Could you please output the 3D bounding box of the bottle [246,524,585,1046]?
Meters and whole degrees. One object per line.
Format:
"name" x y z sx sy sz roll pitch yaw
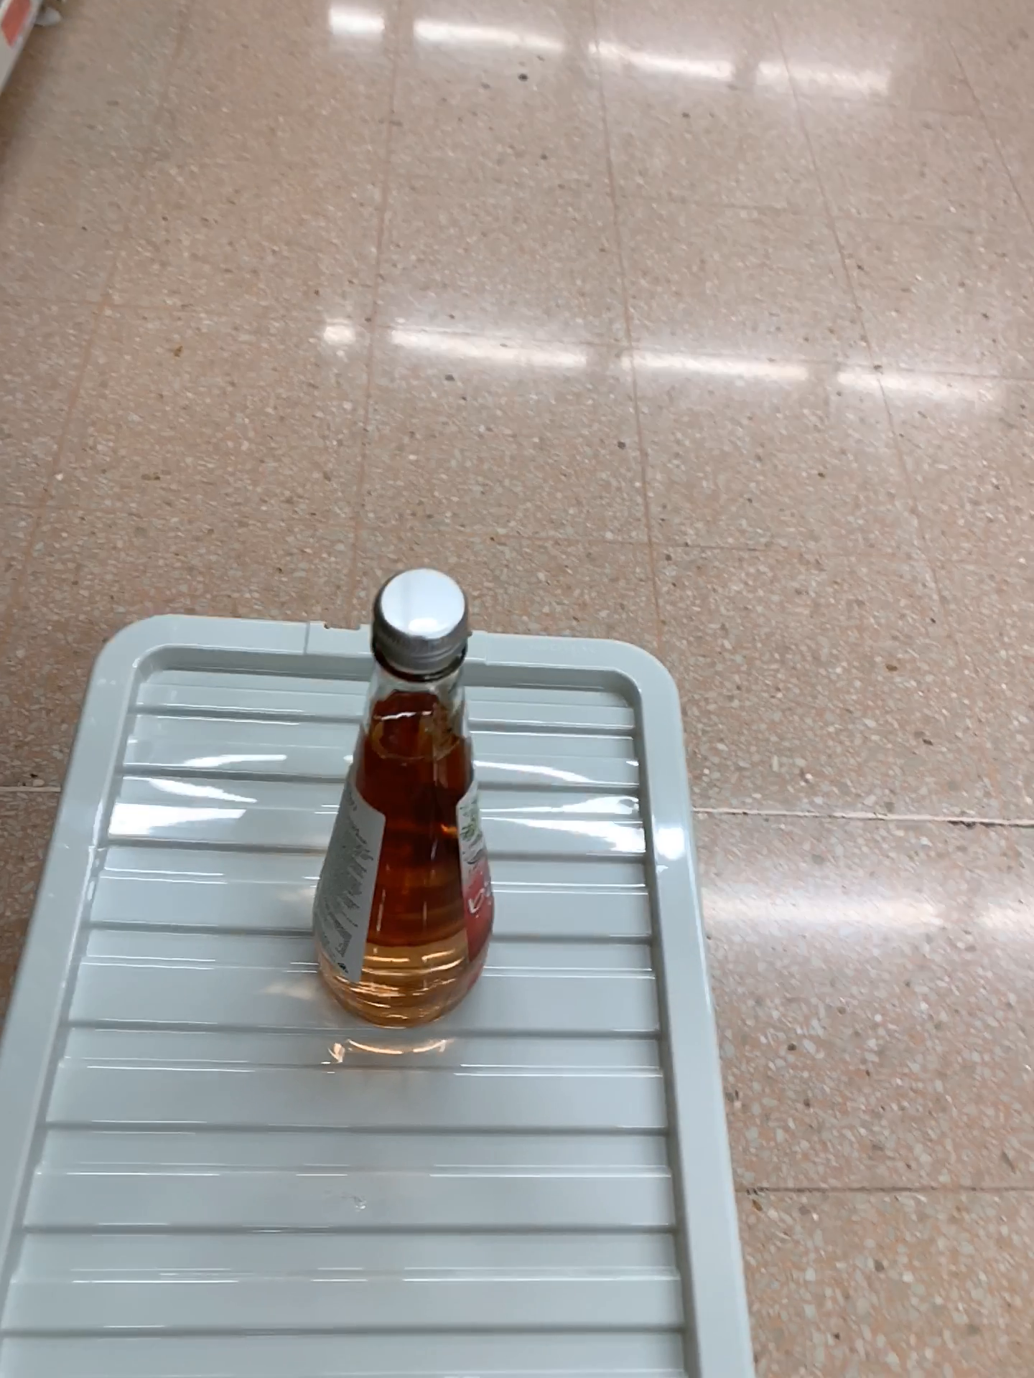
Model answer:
"bottle" -0.046 0.064 0.429 0.090 0.299 0.081 0 58 -8
